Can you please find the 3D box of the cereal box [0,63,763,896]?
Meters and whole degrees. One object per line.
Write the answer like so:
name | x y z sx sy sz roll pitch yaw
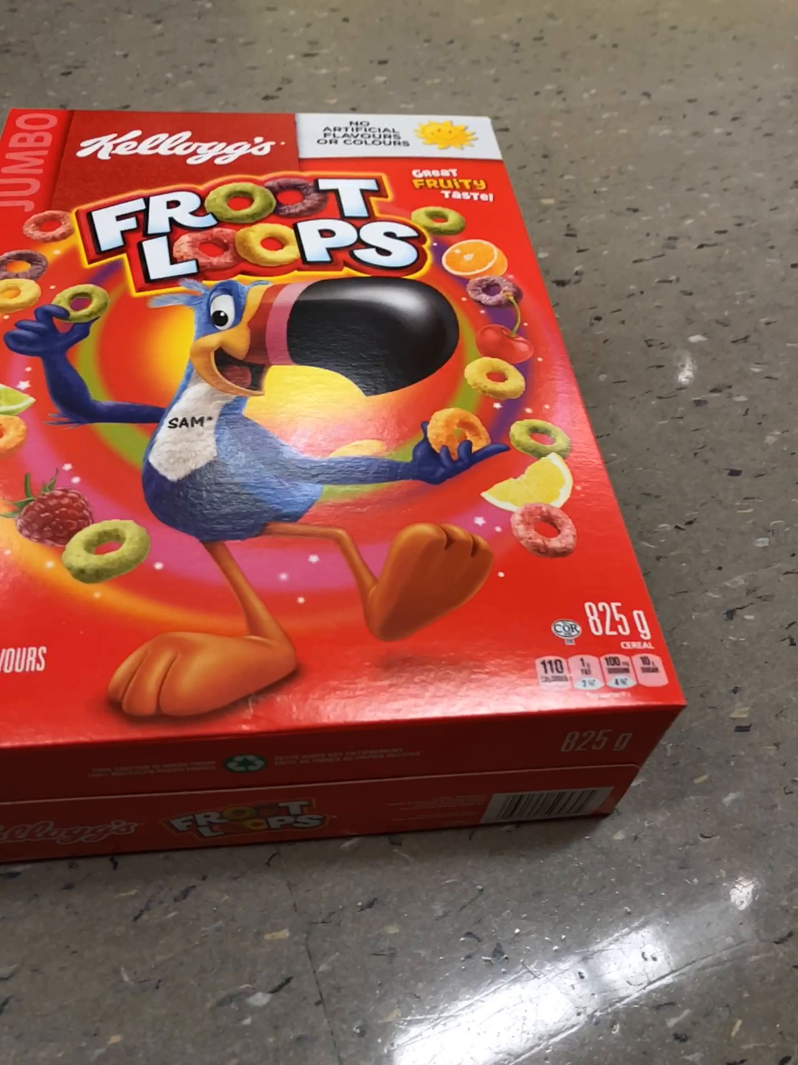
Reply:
cereal box | -0.063 -0.065 0.354 0.270 0.080 0.361 -2 50 -7
